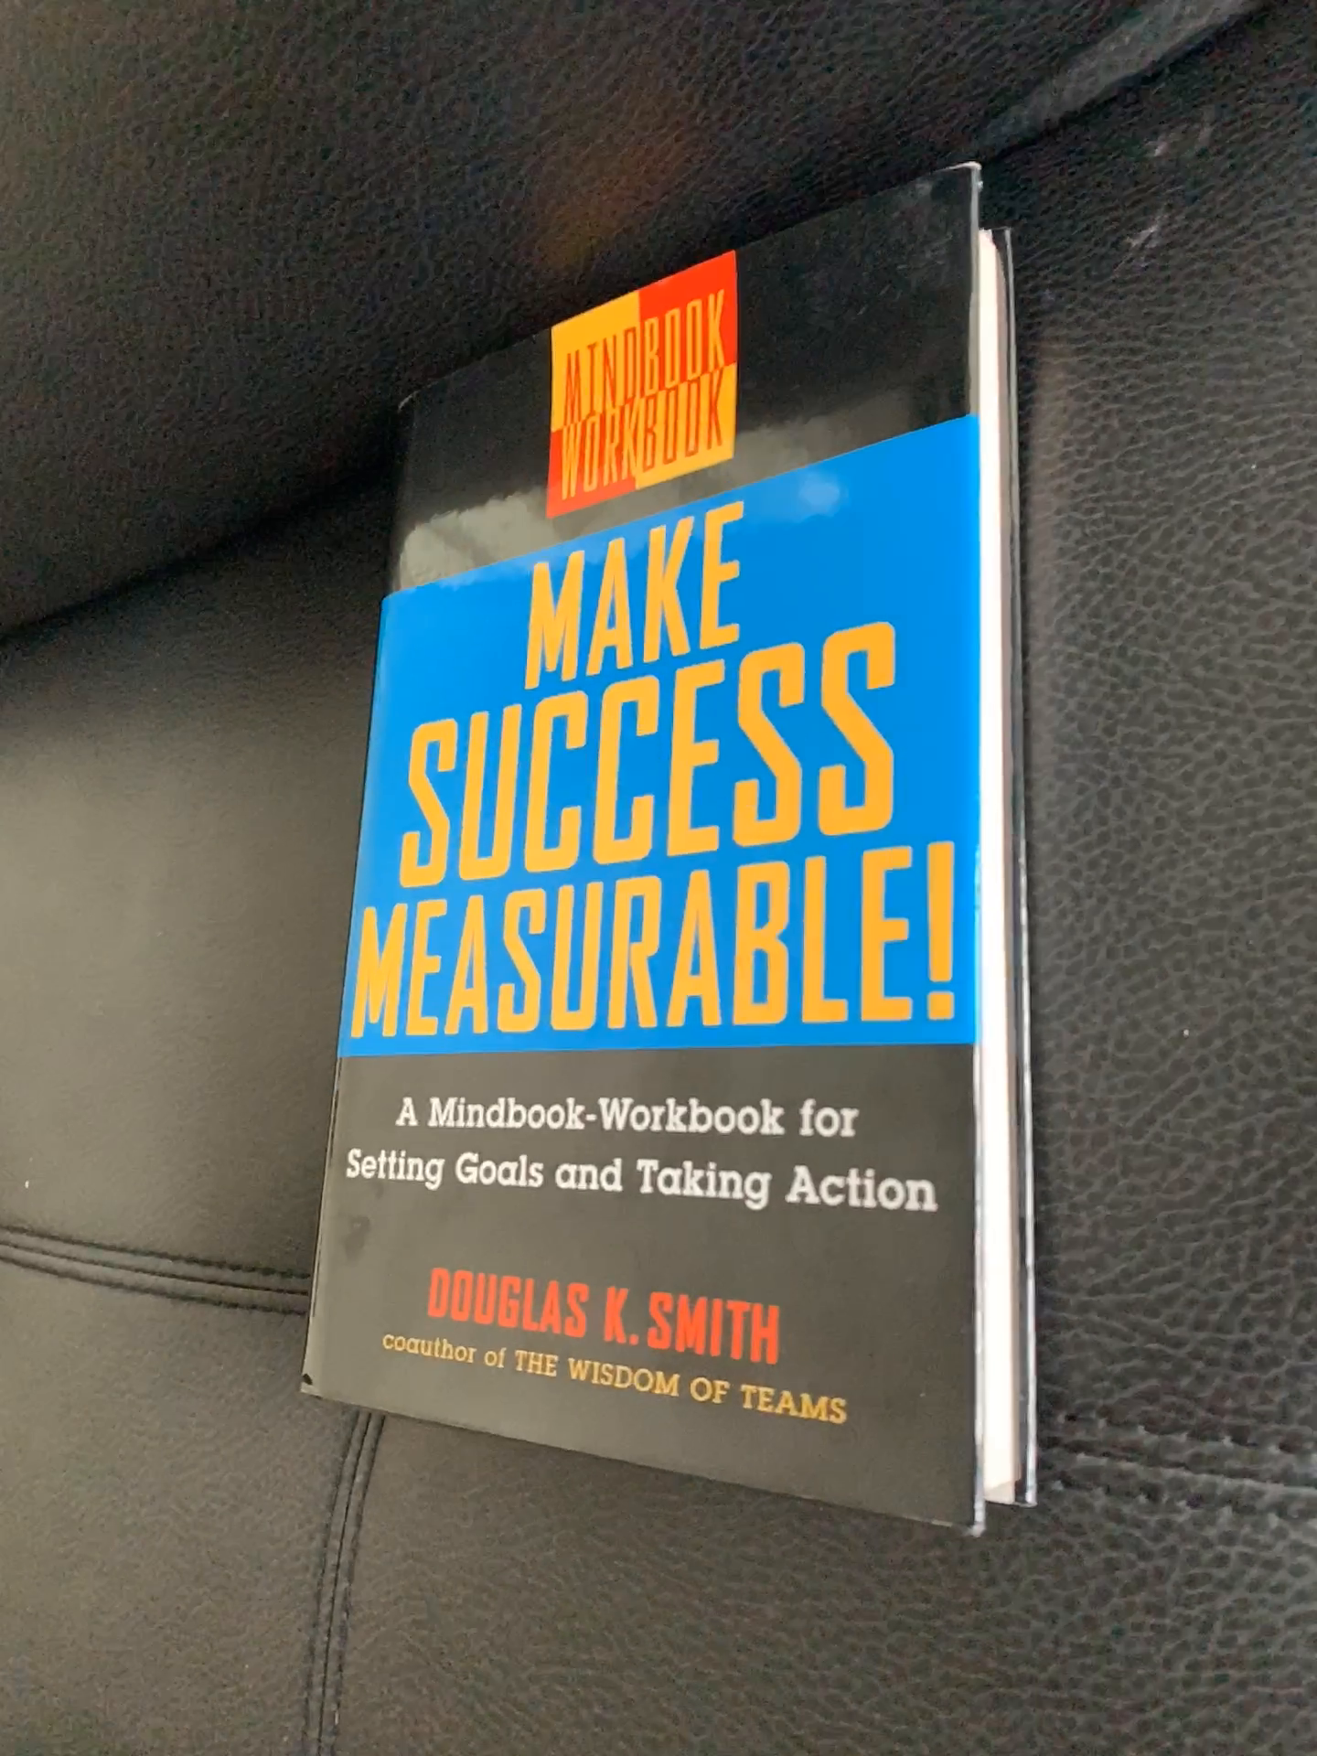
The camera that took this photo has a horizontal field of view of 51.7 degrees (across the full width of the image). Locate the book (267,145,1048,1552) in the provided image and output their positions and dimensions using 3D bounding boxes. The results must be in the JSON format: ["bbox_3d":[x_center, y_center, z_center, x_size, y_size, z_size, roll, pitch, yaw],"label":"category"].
[{"bbox_3d":[-0.006,-0.008,0.286,0.164,0.030,0.240,-7,74,36],"label":"book"}]
